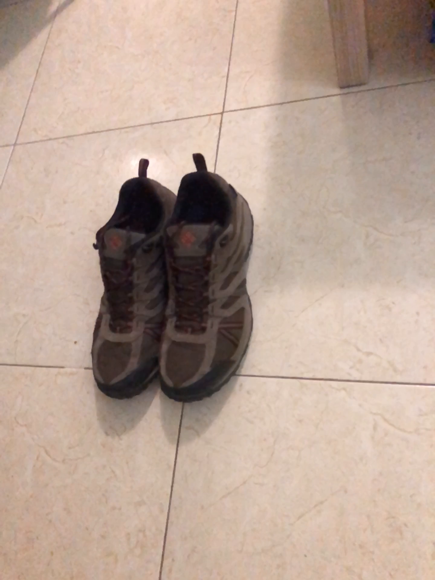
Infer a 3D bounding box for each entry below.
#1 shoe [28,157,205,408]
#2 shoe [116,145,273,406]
[{"bbox_3d":[-0.123,-0.014,0.651,0.130,0.110,0.310,2,68,21],"label":"shoe"},{"bbox_3d":[-0.016,-0.020,0.630,0.120,0.120,0.310,1,68,21],"label":"shoe"}]
